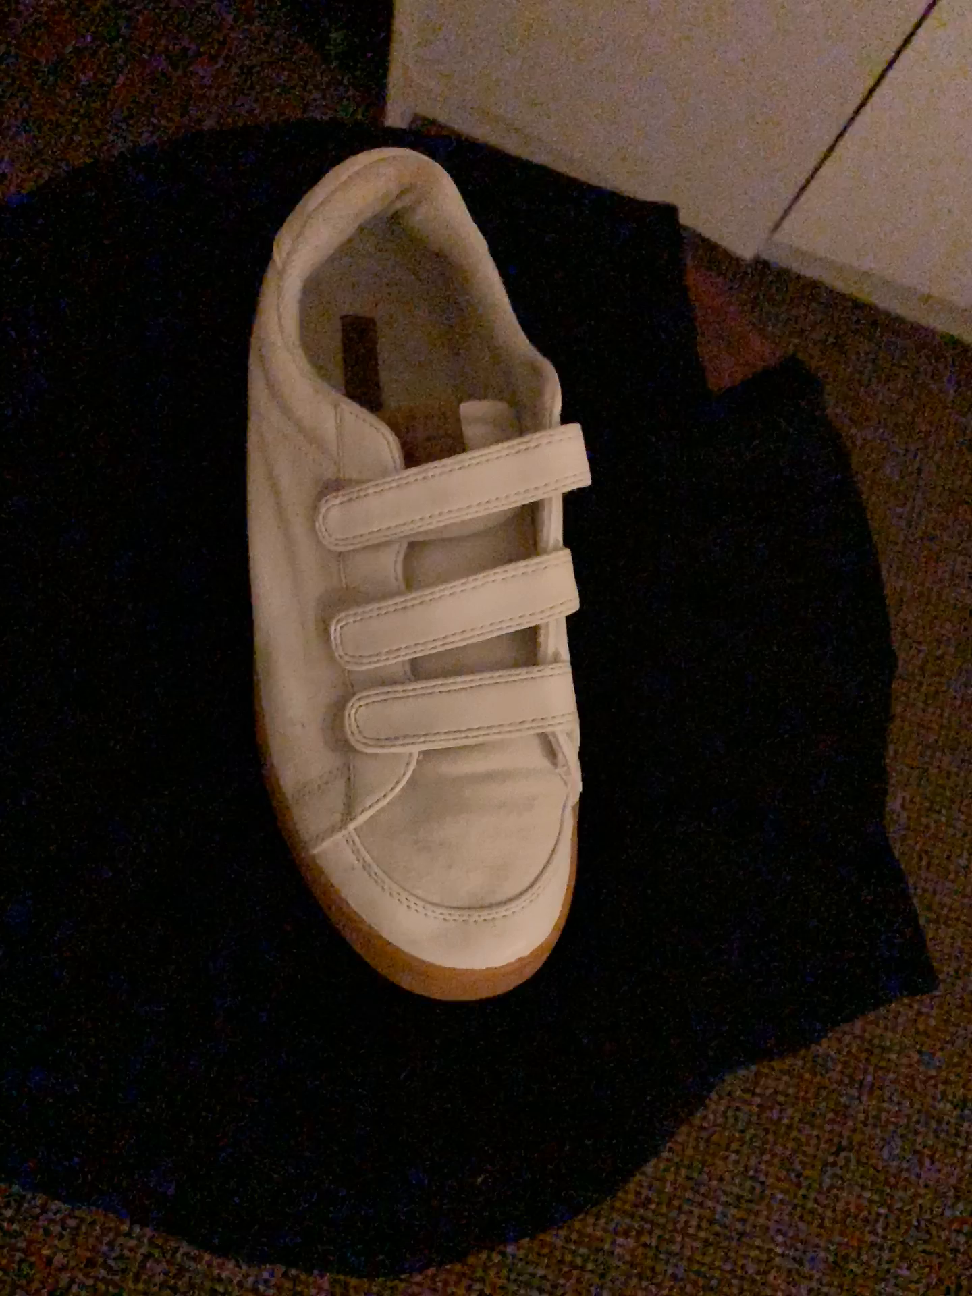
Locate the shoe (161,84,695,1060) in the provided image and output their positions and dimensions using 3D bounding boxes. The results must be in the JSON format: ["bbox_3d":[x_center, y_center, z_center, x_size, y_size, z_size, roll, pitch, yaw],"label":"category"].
[{"bbox_3d":[-0.026,-0.028,0.299,0.096,0.080,0.254,-9,78,-11],"label":"shoe"}]
